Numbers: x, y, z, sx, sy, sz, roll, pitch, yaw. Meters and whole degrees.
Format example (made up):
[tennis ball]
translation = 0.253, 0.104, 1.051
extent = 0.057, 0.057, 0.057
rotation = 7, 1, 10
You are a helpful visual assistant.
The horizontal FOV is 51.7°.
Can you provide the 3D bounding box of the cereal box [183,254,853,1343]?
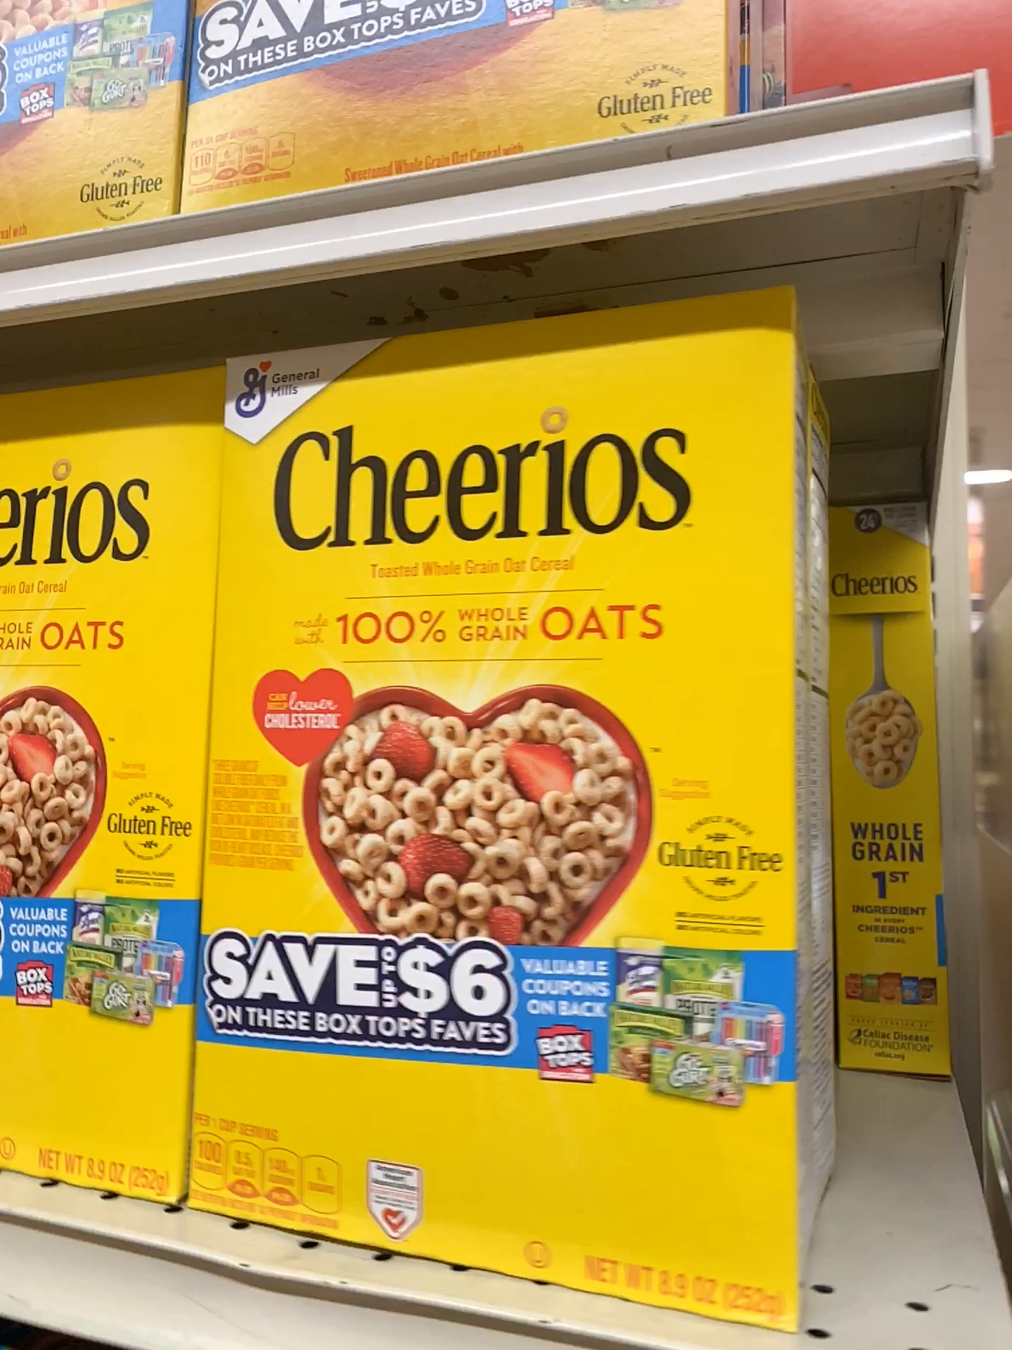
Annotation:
[cereal box]
translation = 0.003, 0.027, 0.318
extent = 0.190, 0.270, 0.050
rotation = -1, -6, 21
